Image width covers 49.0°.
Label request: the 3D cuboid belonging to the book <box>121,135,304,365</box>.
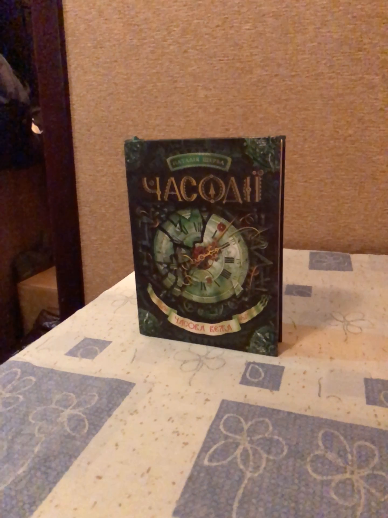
[{"bbox_3d":[0.014,-0.015,0.438,0.173,0.216,0.040,7,17,22],"label":"book"}]
